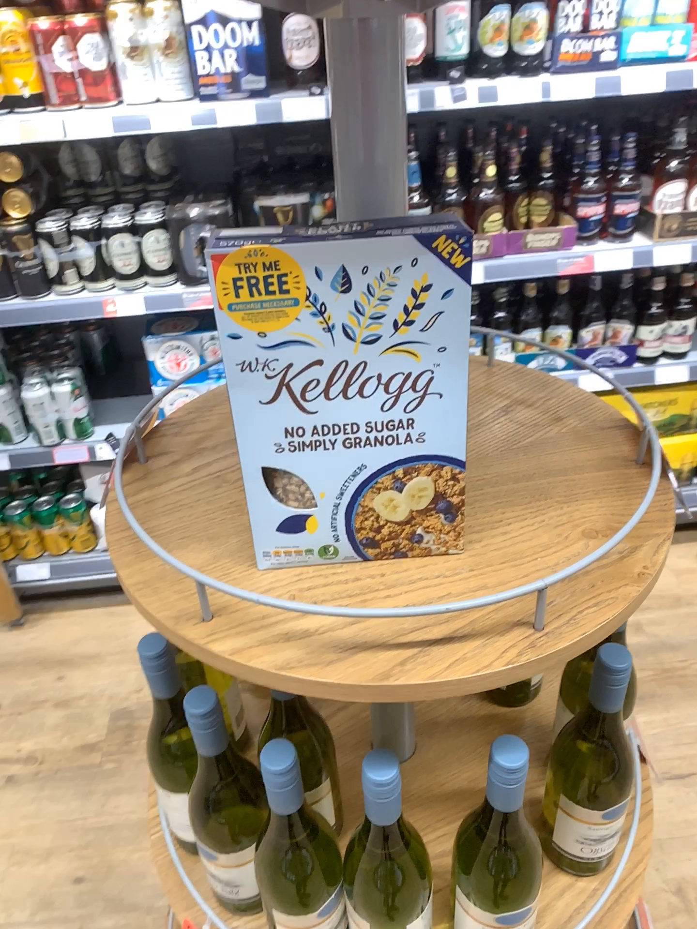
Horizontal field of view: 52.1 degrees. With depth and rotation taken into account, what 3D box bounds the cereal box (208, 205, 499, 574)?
[{"bbox_3d":[0.010,-0.042,0.502,0.170,0.248,0.050,-4,31,0],"label":"cereal box"}]
